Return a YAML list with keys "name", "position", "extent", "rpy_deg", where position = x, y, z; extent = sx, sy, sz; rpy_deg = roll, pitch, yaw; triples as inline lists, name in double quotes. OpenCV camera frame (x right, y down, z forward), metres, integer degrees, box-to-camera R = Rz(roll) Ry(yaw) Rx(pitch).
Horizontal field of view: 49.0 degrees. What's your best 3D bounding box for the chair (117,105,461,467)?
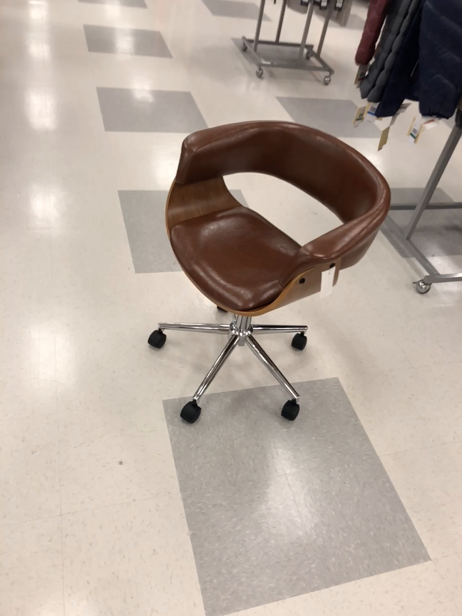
- name: "chair"
  position: [0.086, -0.094, 1.471]
  extent: [0.627, 0.697, 0.590]
  rpy_deg: [-19, 51, -30]
